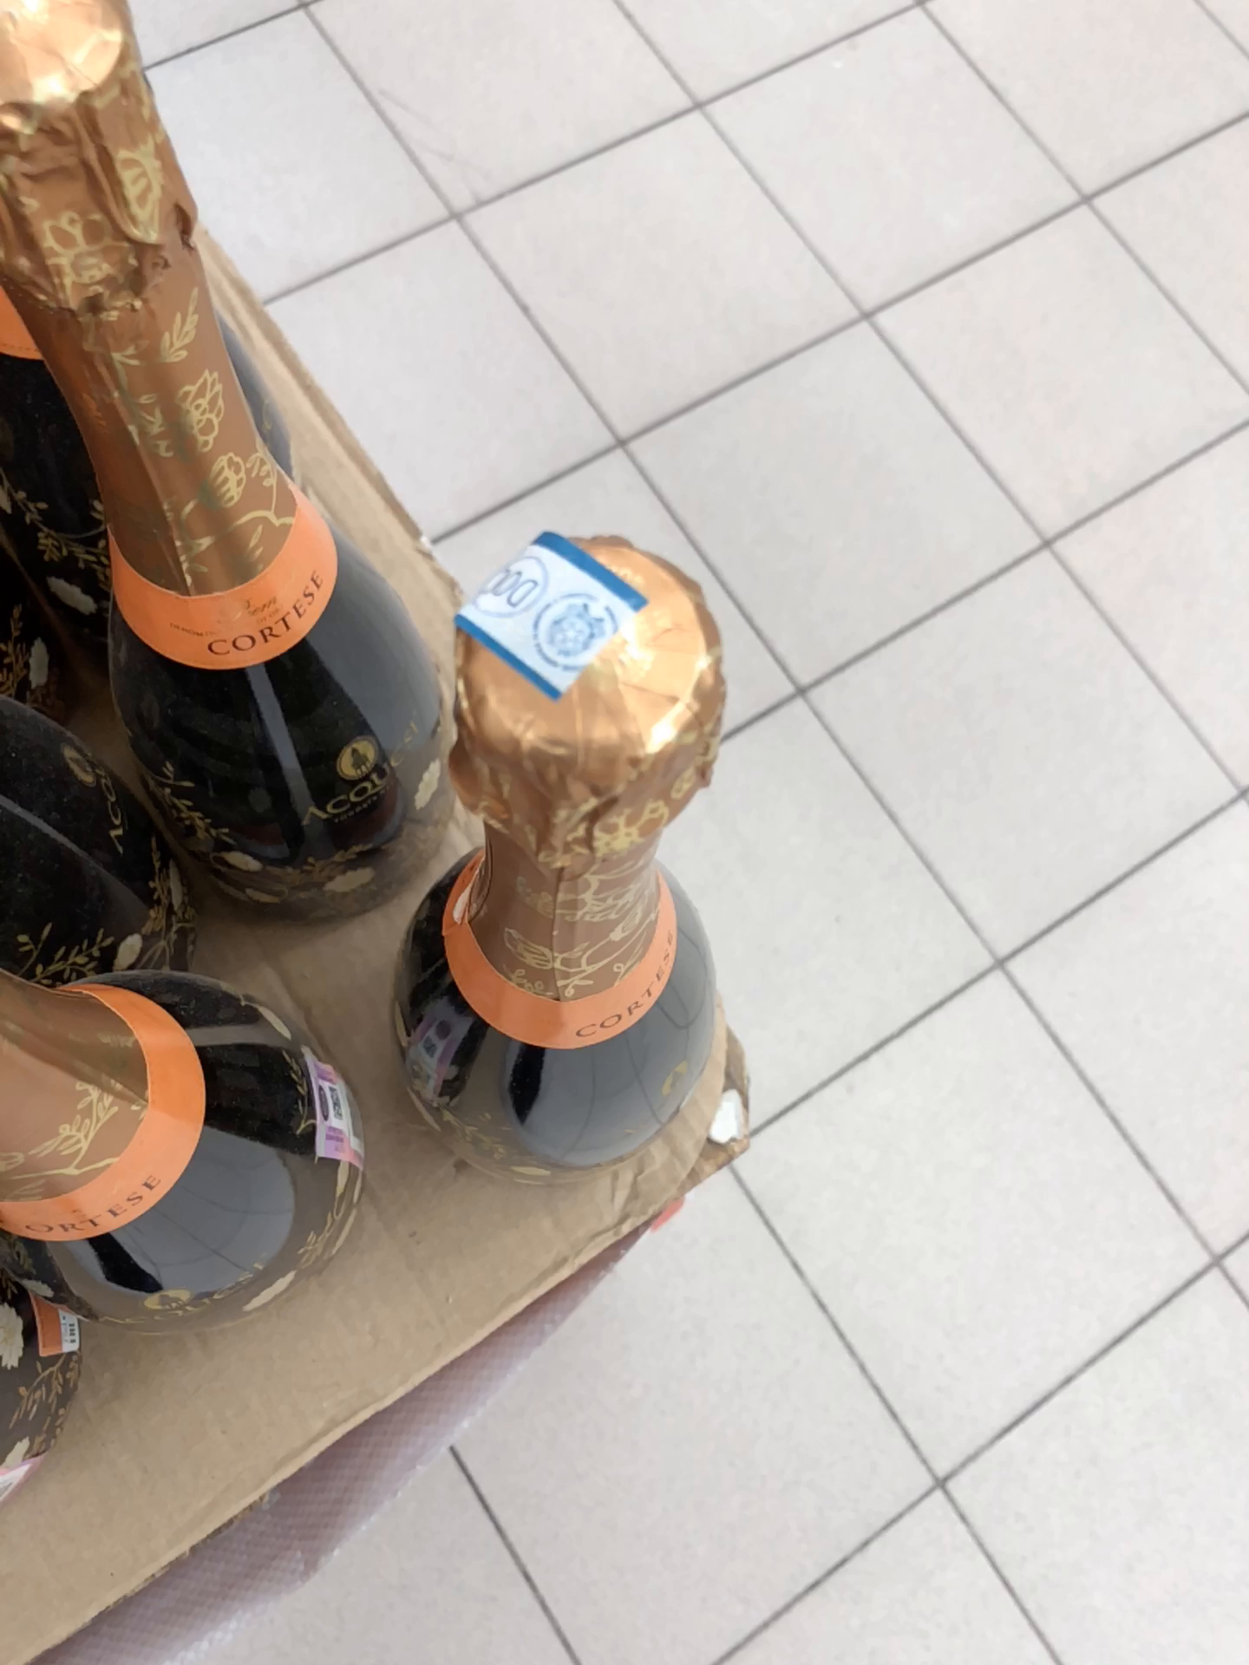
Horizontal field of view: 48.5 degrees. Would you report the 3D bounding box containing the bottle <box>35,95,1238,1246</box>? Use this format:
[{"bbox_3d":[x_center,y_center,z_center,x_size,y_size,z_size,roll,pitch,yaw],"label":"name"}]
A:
[{"bbox_3d":[-0.011,0.018,0.314,0.100,0.319,0.100,2,73,-5],"label":"bottle"}]
